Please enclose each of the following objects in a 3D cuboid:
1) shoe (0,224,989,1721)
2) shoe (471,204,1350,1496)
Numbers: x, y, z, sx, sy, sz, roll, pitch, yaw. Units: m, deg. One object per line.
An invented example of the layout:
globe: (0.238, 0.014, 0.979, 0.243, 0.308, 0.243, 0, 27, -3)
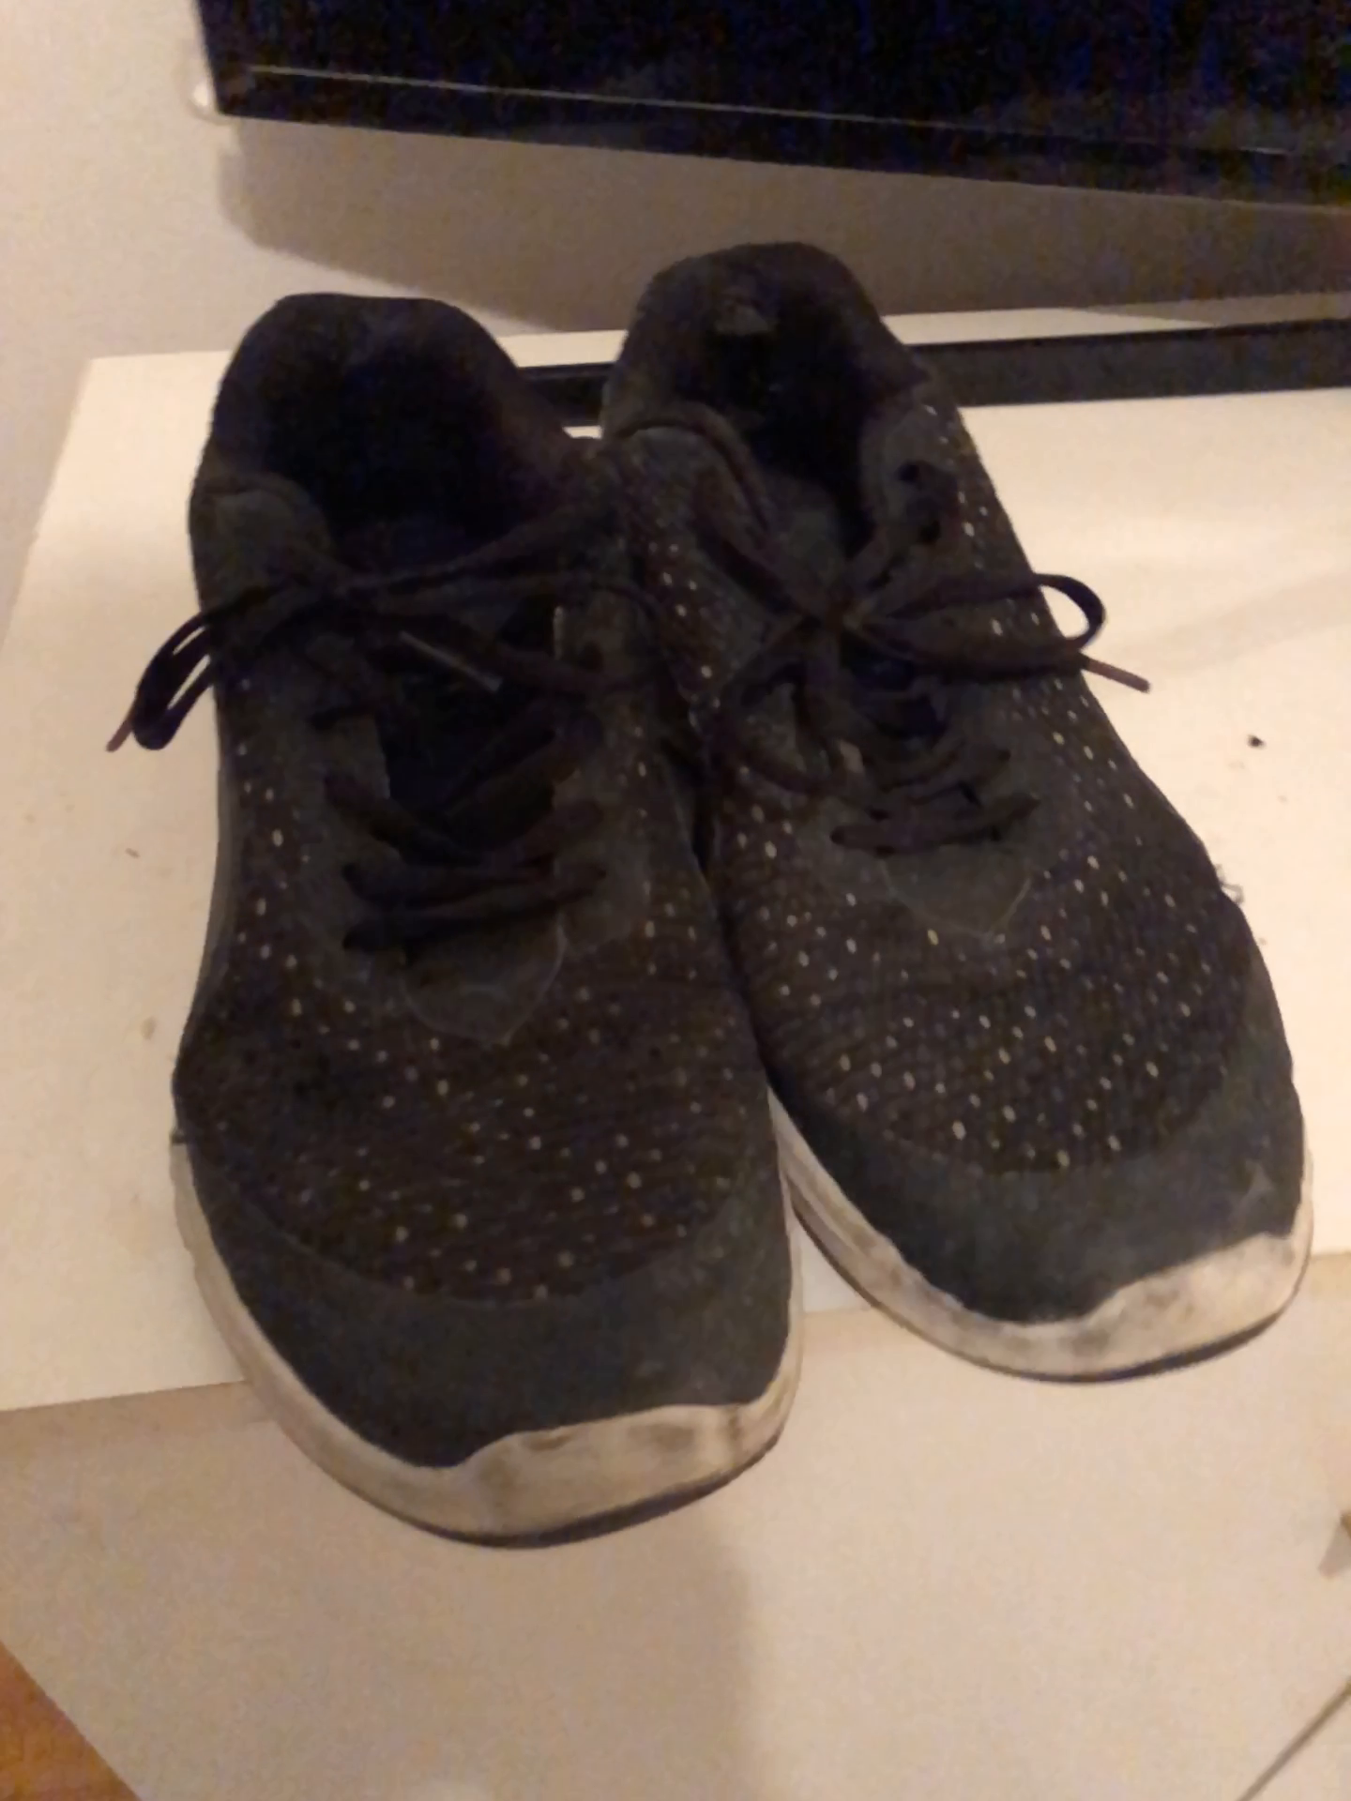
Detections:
shoe: (-0.064, -0.027, 0.311, 0.120, 0.099, 0.311, -12, 46, -12)
shoe: (0.047, -0.048, 0.344, 0.120, 0.099, 0.311, -12, 46, -12)
